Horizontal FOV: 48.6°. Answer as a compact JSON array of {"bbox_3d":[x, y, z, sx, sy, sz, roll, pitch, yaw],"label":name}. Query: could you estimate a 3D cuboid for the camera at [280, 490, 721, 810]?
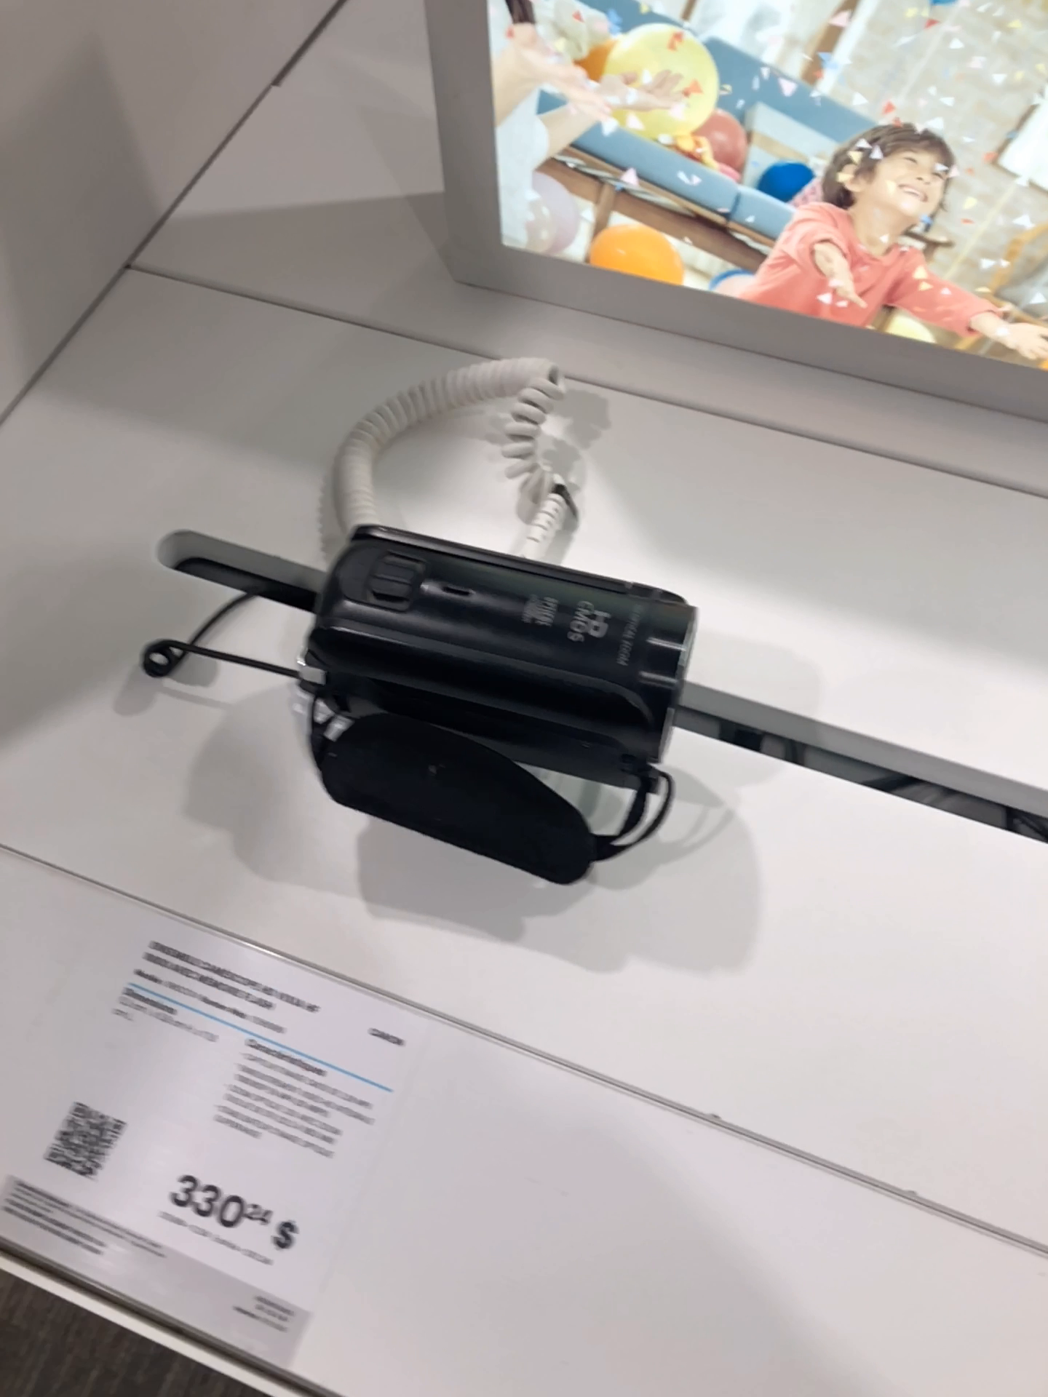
[{"bbox_3d":[-0.006,-0.015,0.345,0.113,0.050,0.050,15,61,11],"label":"camera"}]
